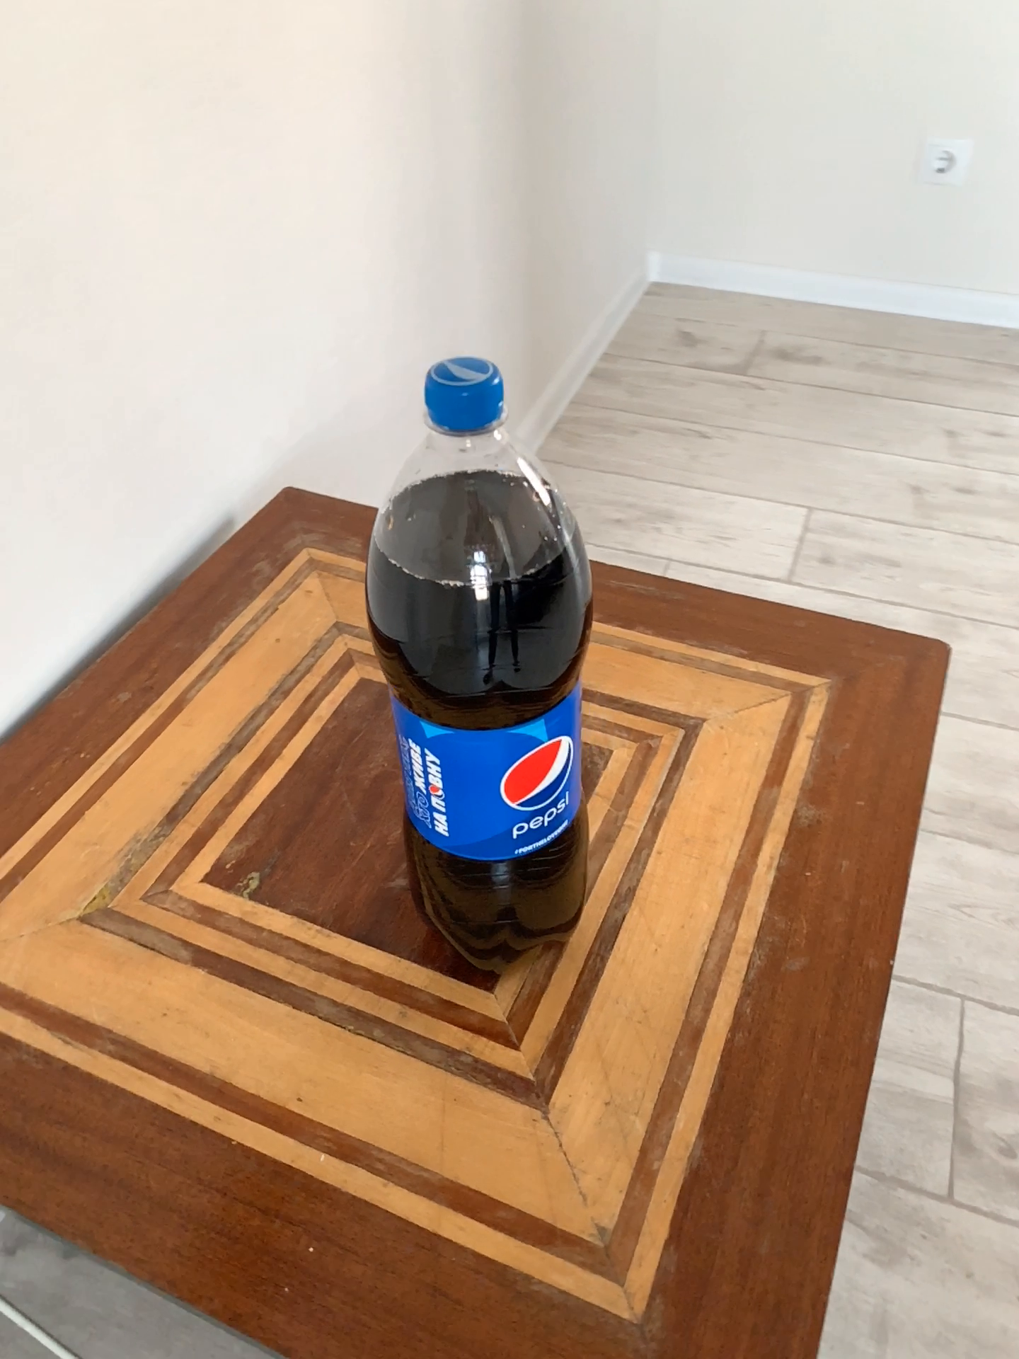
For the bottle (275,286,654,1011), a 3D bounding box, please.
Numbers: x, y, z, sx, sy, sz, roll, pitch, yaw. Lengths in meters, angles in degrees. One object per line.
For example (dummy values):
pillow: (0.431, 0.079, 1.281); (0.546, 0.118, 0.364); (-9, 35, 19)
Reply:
bottle: (-0.014, 0.007, 0.500); (0.100, 0.338, 0.100); (-1, 43, 1)
